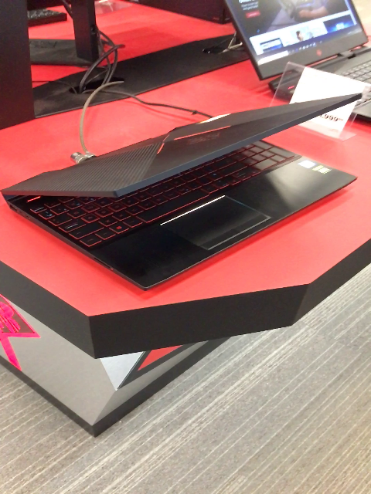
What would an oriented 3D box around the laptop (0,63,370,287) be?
[{"bbox_3d":[0.020,-0.116,0.626,0.375,0.106,0.222,-30,53,-31],"label":"laptop"}]
